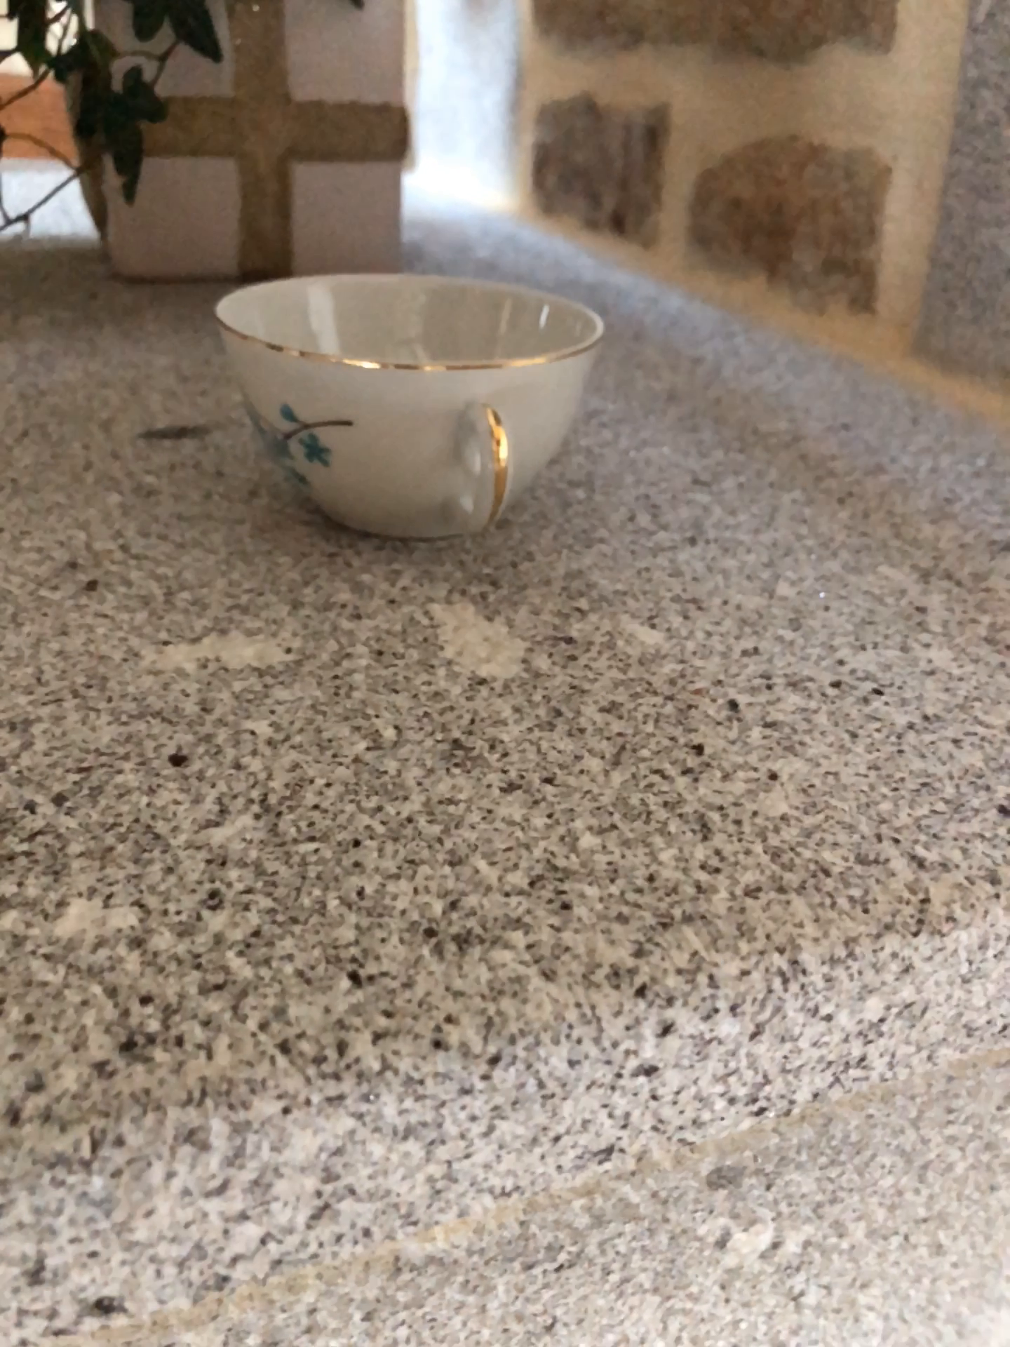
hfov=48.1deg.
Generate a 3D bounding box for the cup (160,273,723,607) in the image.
[{"bbox_3d":[-0.021,-0.063,0.270,0.090,0.040,0.110,-12,33,-27],"label":"cup"}]
